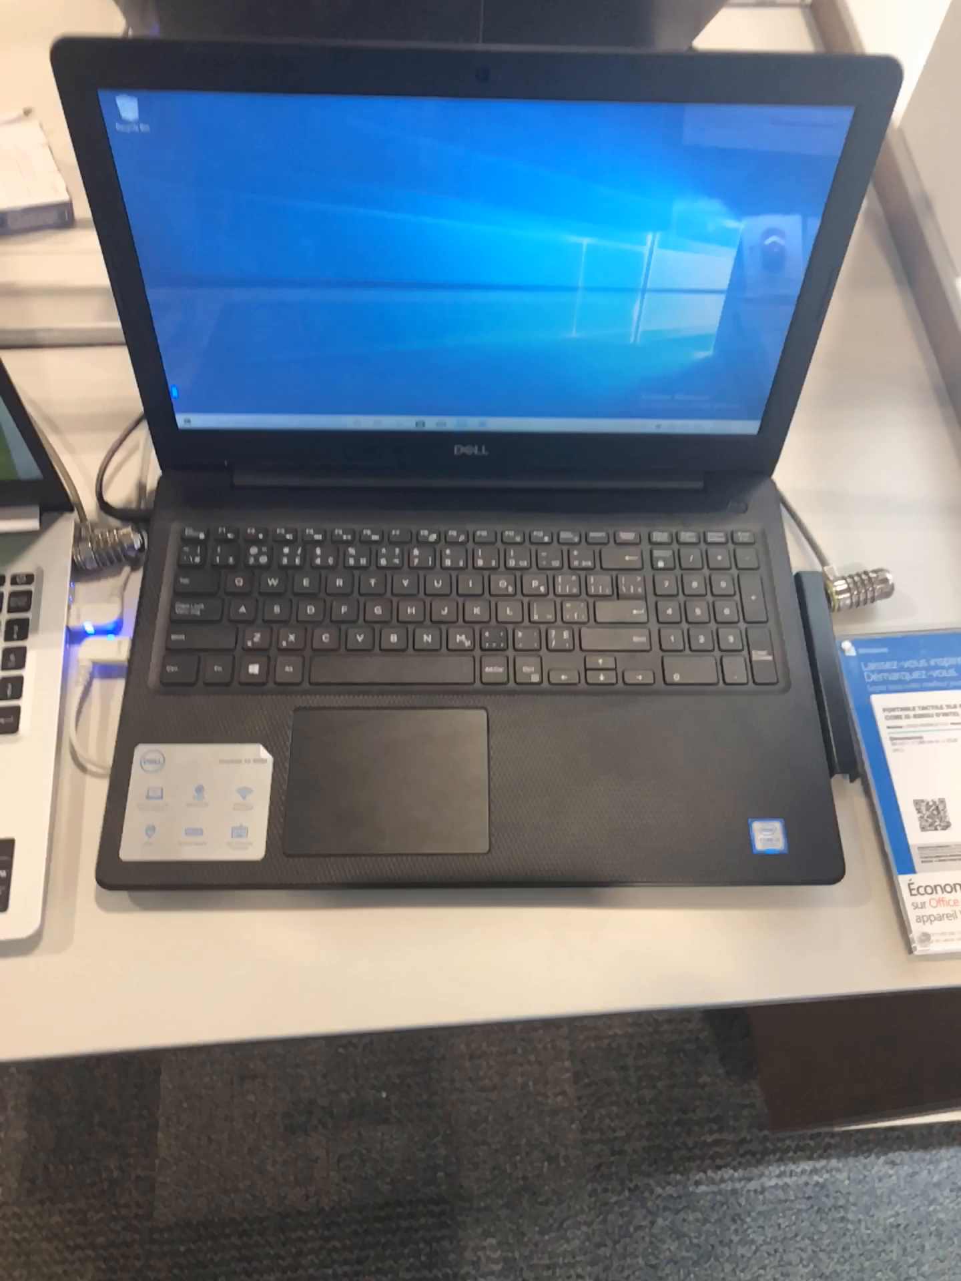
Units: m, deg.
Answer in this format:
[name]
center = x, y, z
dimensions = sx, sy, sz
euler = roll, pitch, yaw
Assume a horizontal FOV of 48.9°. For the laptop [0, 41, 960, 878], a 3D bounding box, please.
[laptop]
center = -0.004, -0.072, 0.502
dimensions = 0.368, 0.231, 0.310
euler = 0, 62, -3
